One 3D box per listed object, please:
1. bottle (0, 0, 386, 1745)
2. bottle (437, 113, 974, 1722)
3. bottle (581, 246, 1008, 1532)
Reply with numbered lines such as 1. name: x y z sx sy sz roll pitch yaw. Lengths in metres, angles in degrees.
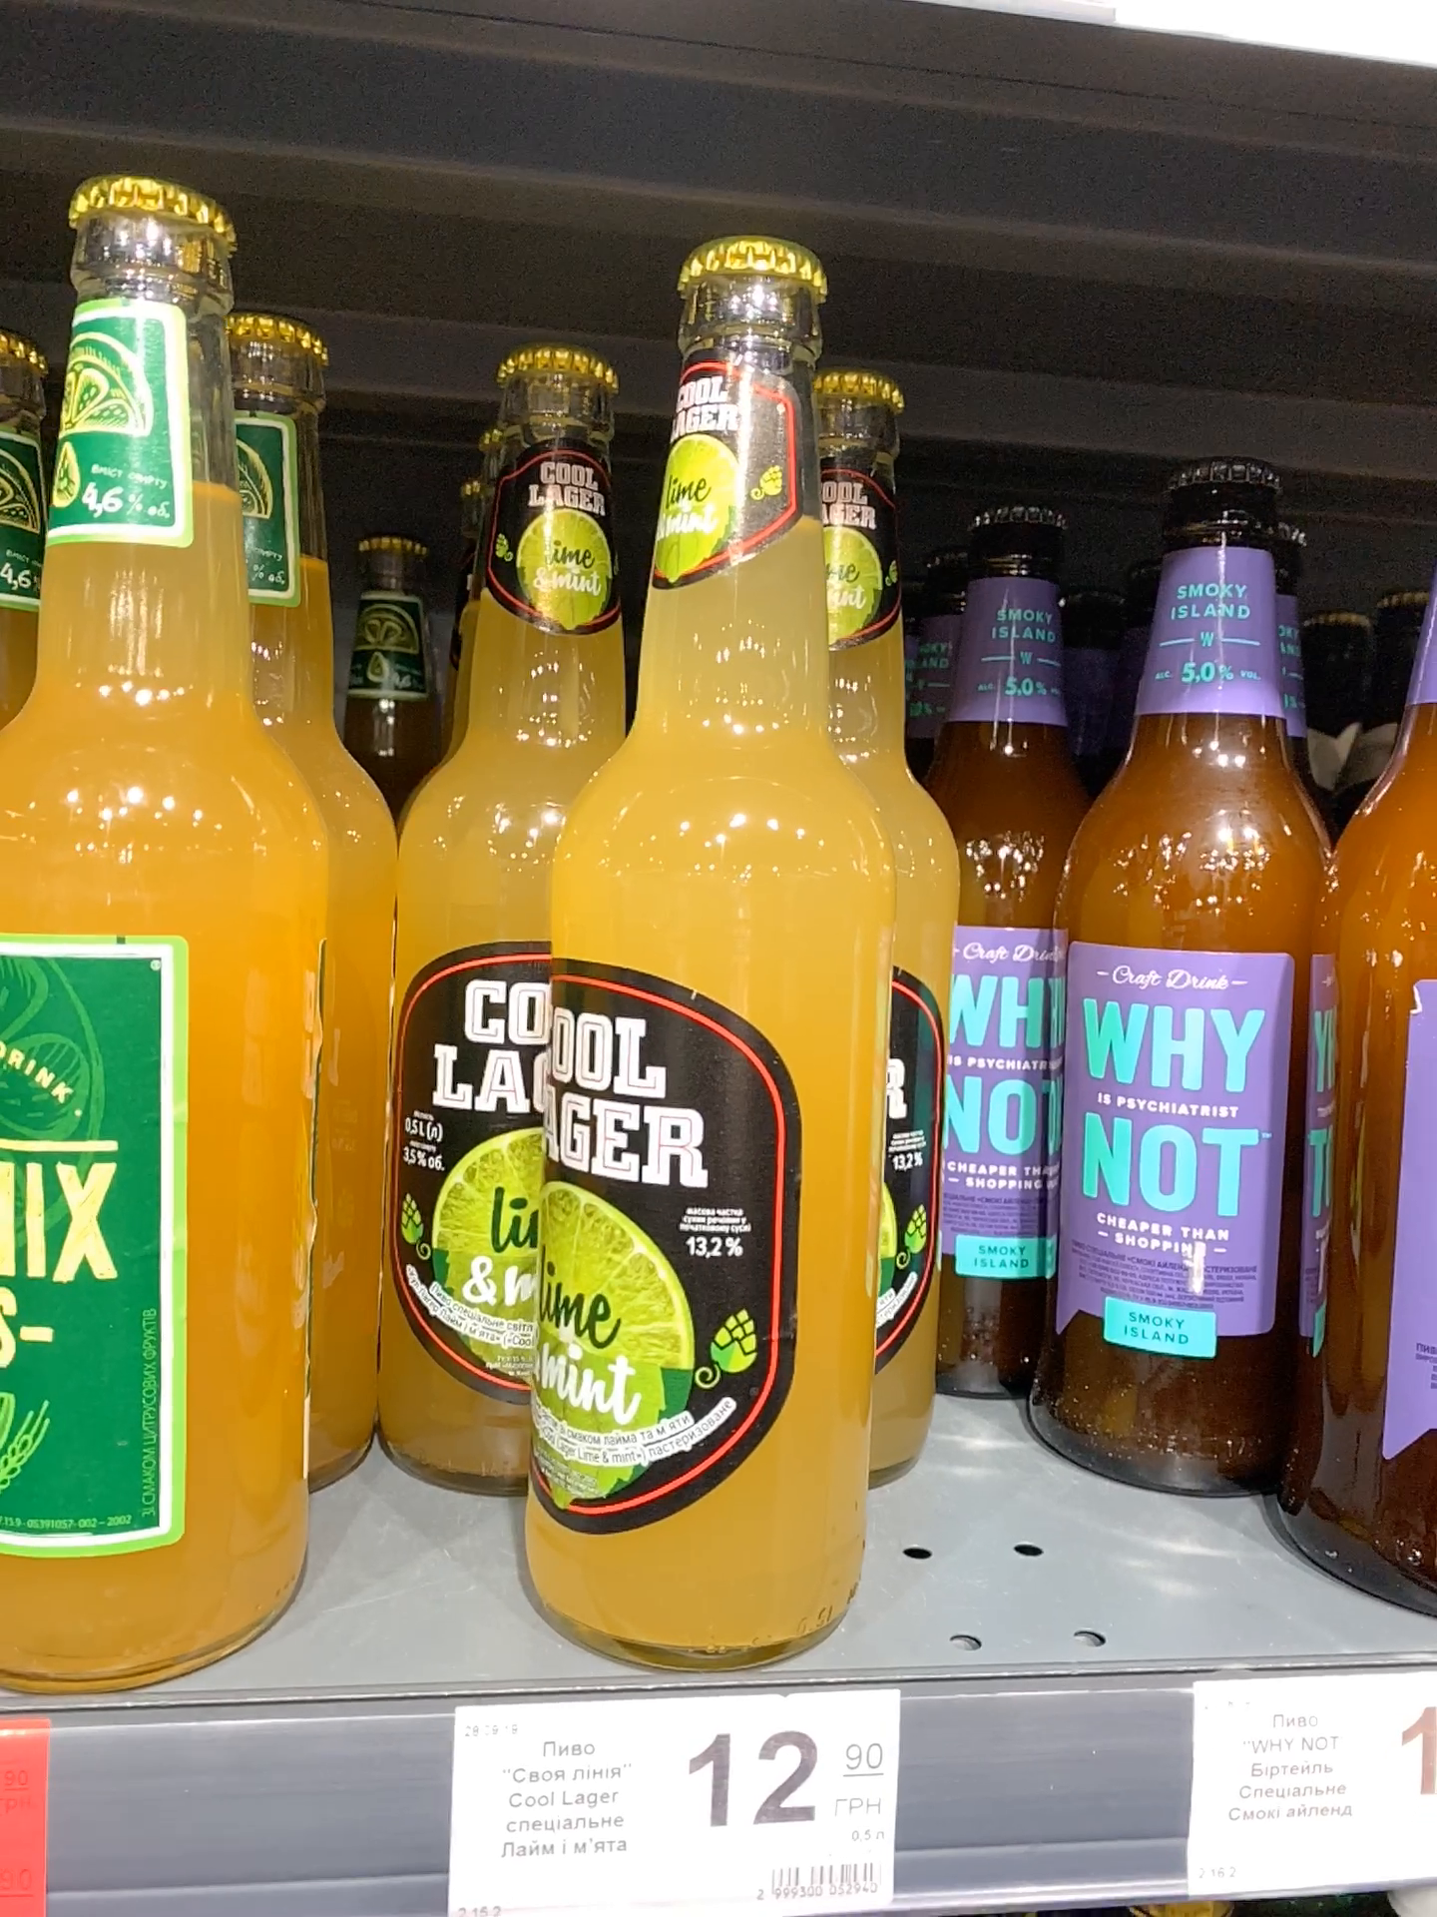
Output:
1. bottle: -0.114 -0.013 0.268 0.078 0.260 0.064 5 5 31
2. bottle: -0.002 -0.006 0.270 0.063 0.244 0.065 2 4 0
3. bottle: 0.018 -0.015 0.346 0.063 0.260 0.069 2 4 0
